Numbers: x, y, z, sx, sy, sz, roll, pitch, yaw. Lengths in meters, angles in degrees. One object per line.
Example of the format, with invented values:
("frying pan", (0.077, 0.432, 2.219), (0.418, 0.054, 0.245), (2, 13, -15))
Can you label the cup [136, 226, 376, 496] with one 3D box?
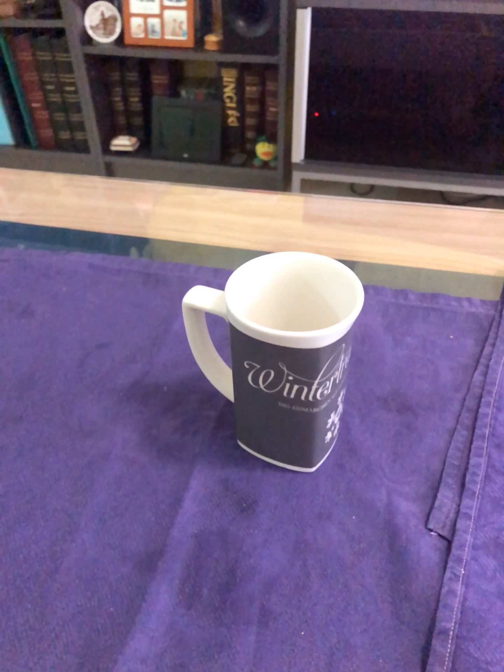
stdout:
("cup", (0.005, 0.013, 0.318), (0.100, 0.109, 0.070), (16, 44, 20))
